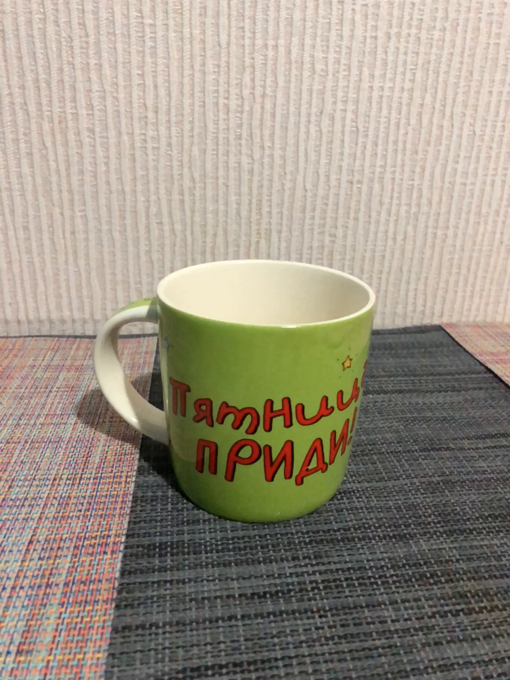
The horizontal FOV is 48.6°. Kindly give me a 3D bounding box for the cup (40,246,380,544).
[{"bbox_3d":[-0.011,0.015,0.243,0.115,0.084,0.090,5,22,8],"label":"cup"}]
